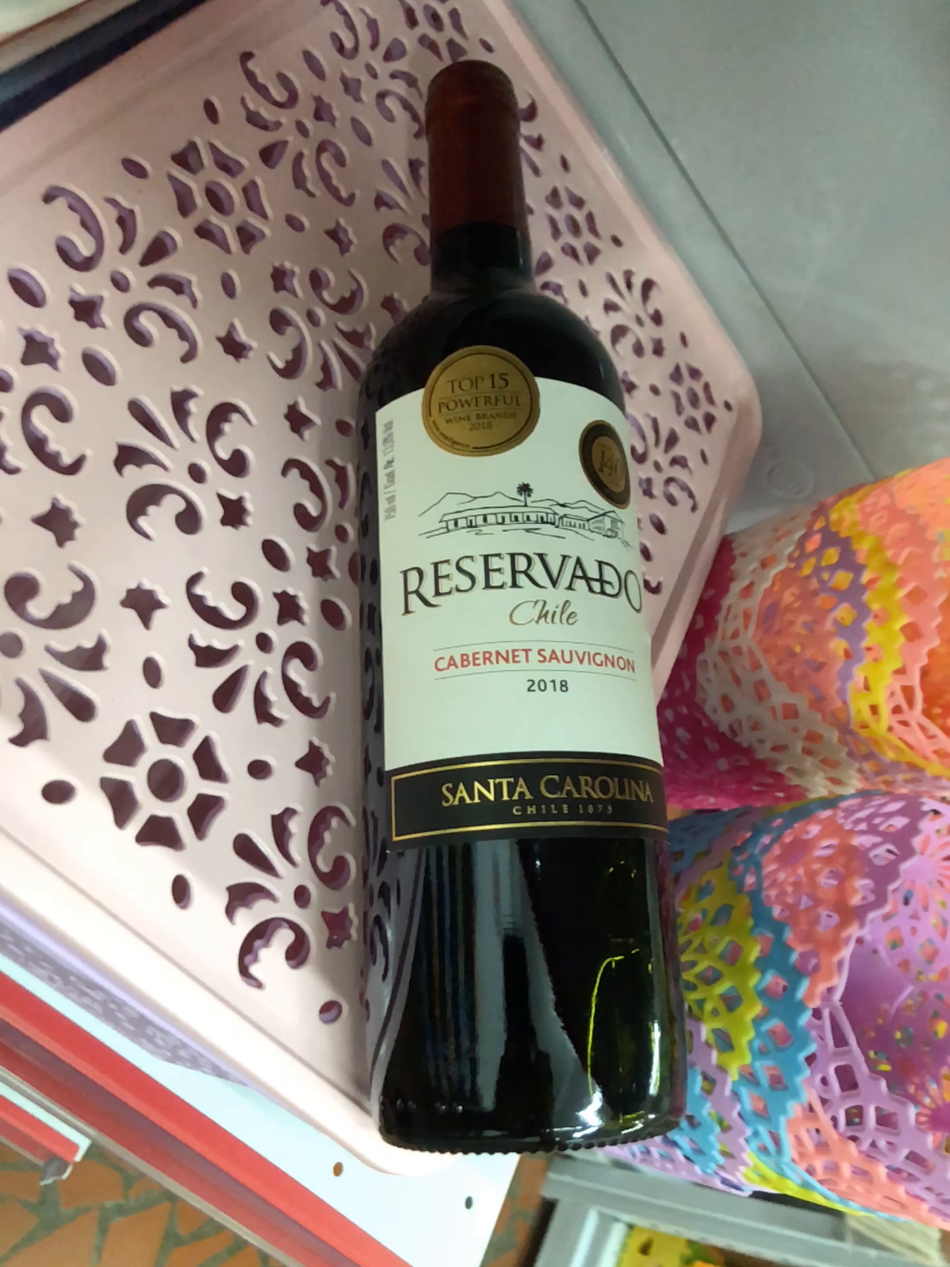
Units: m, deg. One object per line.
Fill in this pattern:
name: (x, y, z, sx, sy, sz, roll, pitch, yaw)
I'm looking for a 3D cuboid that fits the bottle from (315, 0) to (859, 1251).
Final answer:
bottle: (0.022, -0.041, 0.298, 0.111, 0.070, 0.350, 11, 68, -40)
